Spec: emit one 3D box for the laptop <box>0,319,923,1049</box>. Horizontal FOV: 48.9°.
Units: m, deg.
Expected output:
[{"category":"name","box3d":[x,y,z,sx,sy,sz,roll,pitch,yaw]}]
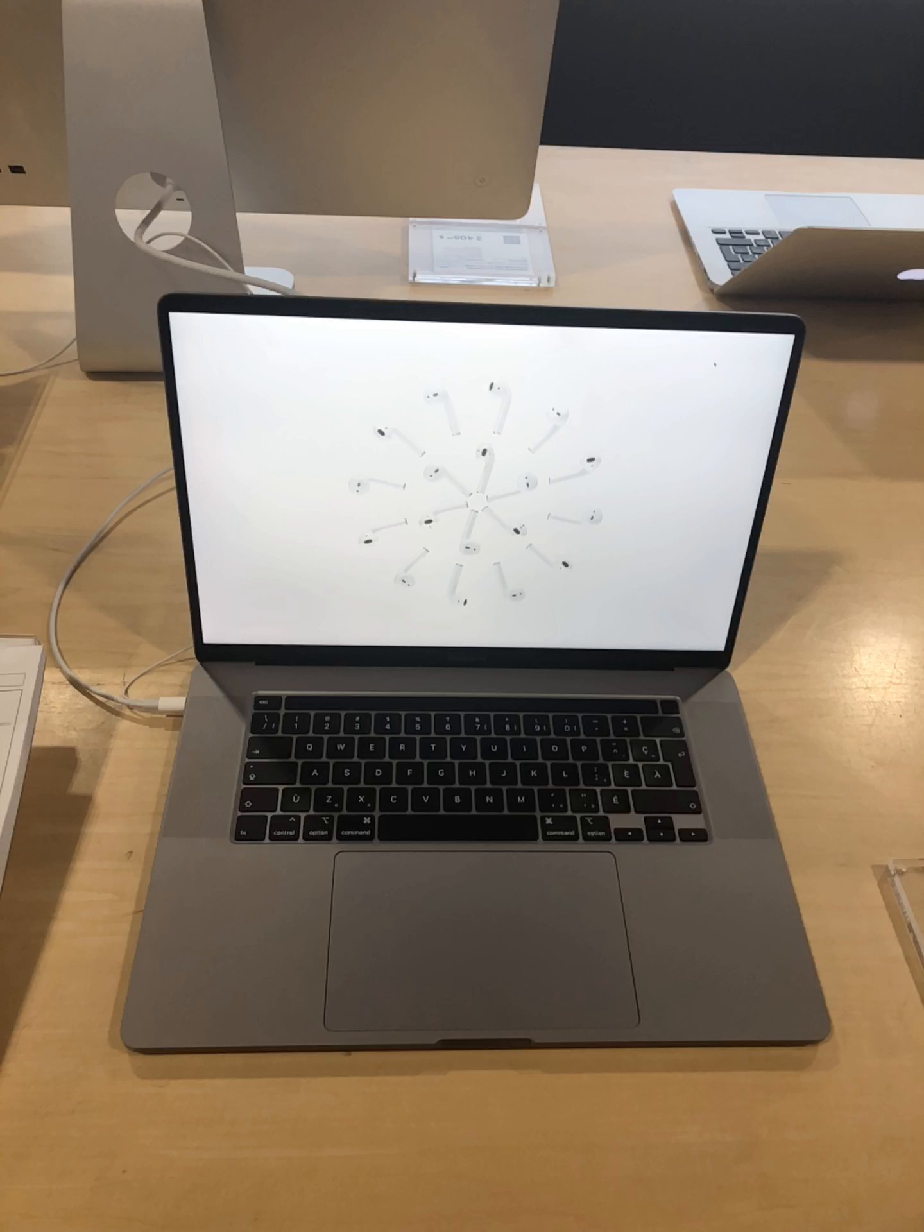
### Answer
[{"category":"laptop","box3d":[0.015,0.026,0.522,0.344,0.227,0.292,0,46,-3]}]
